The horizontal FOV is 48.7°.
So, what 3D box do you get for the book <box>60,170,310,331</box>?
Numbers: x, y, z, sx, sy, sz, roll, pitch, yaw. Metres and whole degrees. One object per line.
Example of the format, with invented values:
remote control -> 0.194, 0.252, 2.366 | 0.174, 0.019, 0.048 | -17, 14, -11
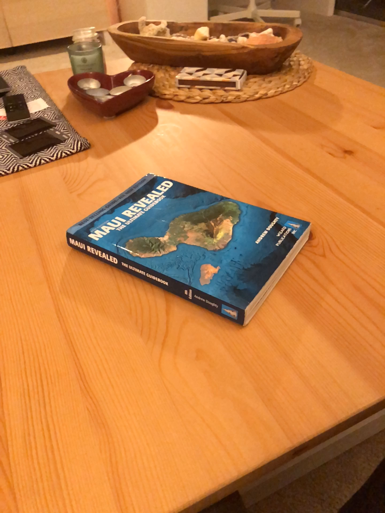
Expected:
book -> -0.006, -0.022, 0.425 | 0.200, 0.020, 0.146 | 22, 45, 24
